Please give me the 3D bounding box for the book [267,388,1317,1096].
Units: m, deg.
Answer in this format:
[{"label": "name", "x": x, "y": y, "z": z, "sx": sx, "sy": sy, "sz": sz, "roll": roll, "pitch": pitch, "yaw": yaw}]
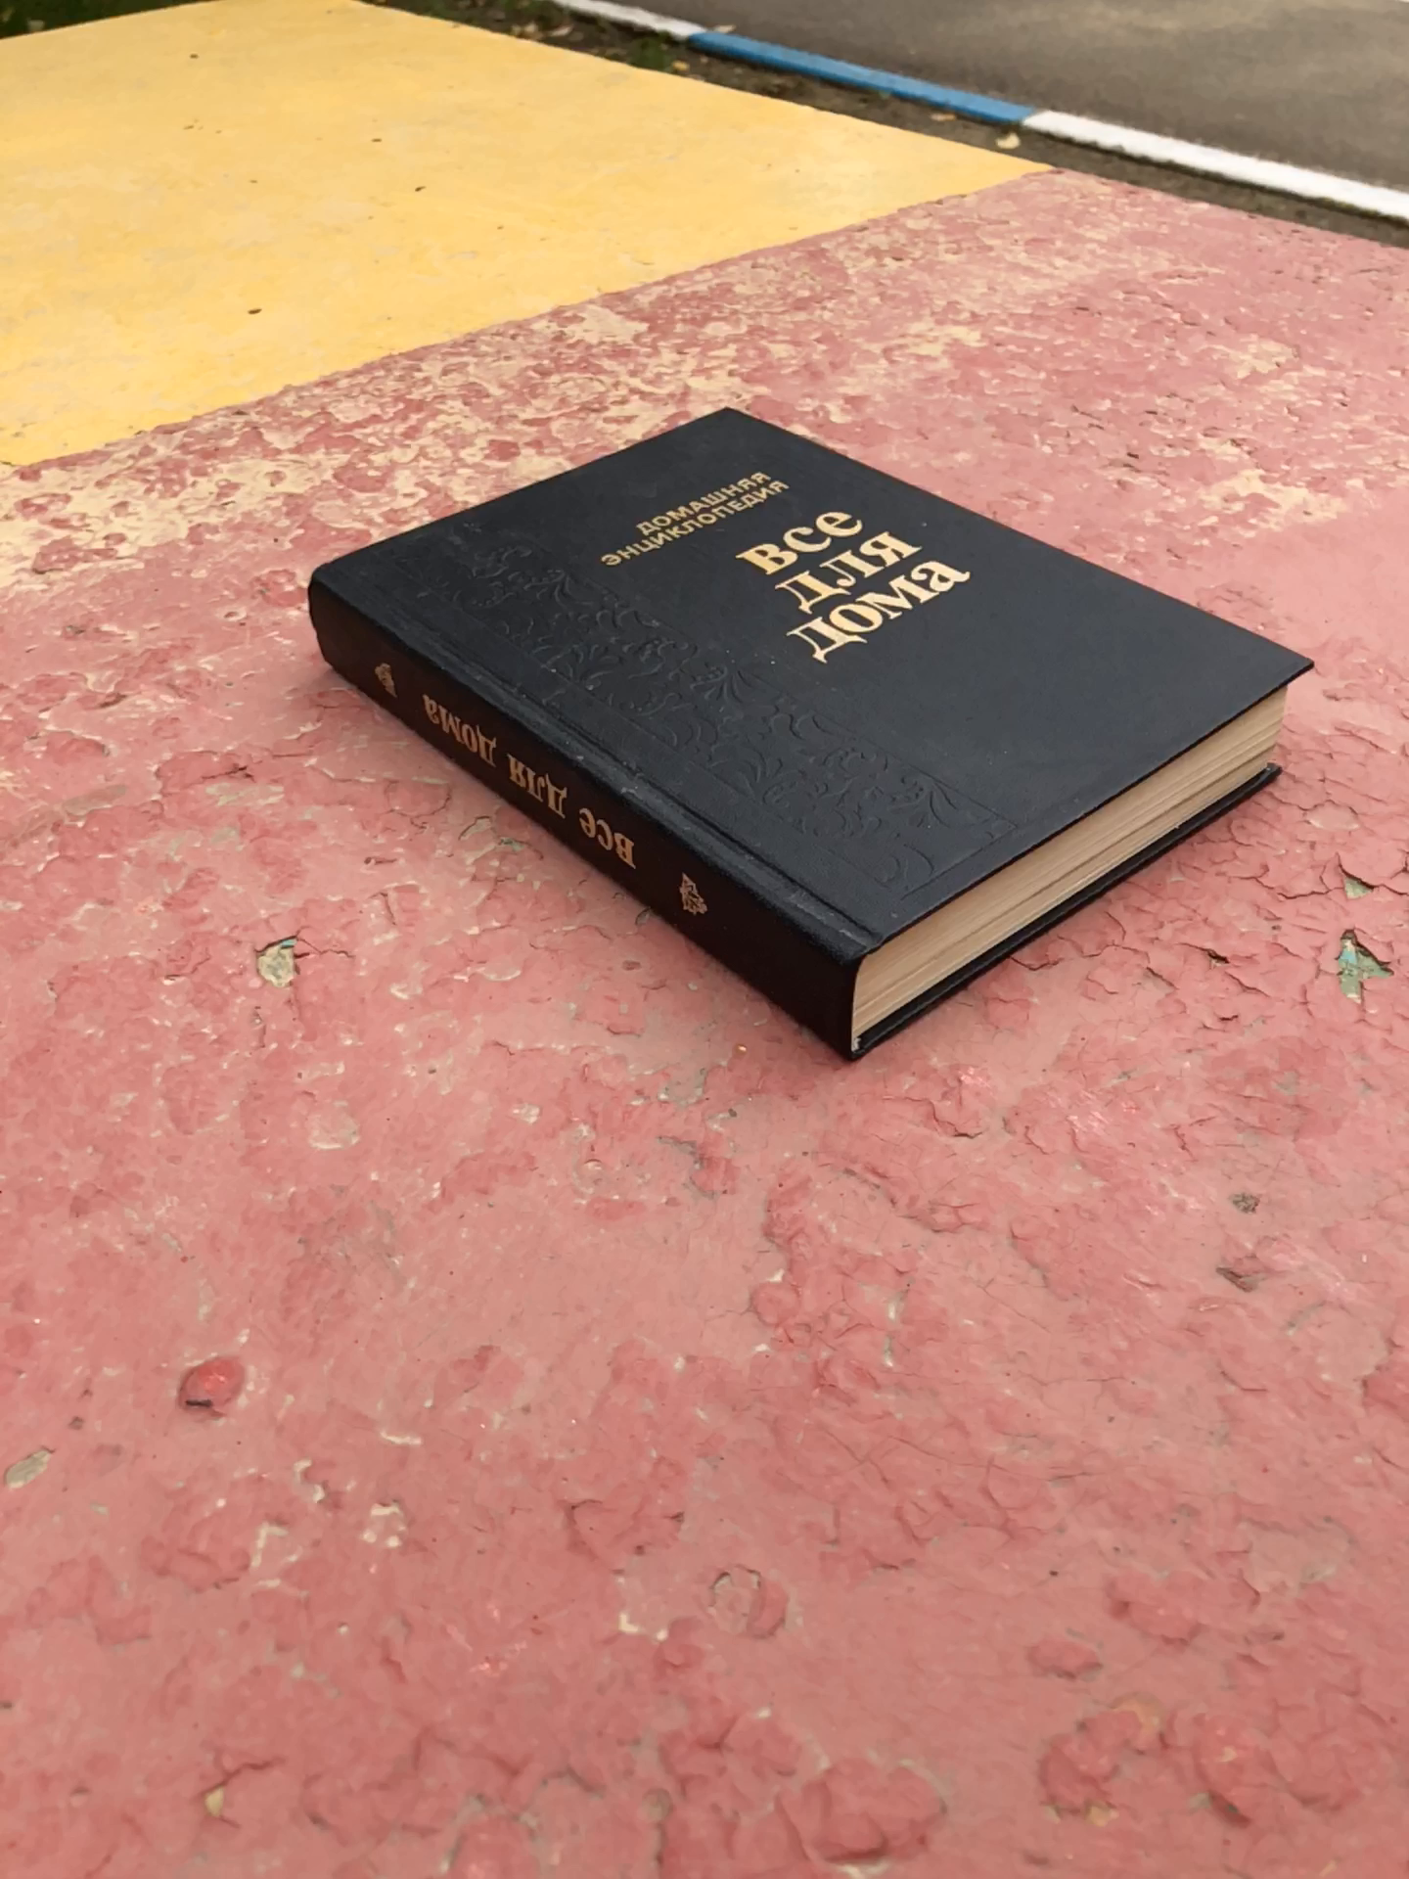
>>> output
[{"label": "book", "x": 0.013, "y": -0.068, "z": 0.389, "sx": 0.150, "sy": 0.040, "sz": 0.211, "roll": -30, "pitch": 48, "yaw": -29}]
